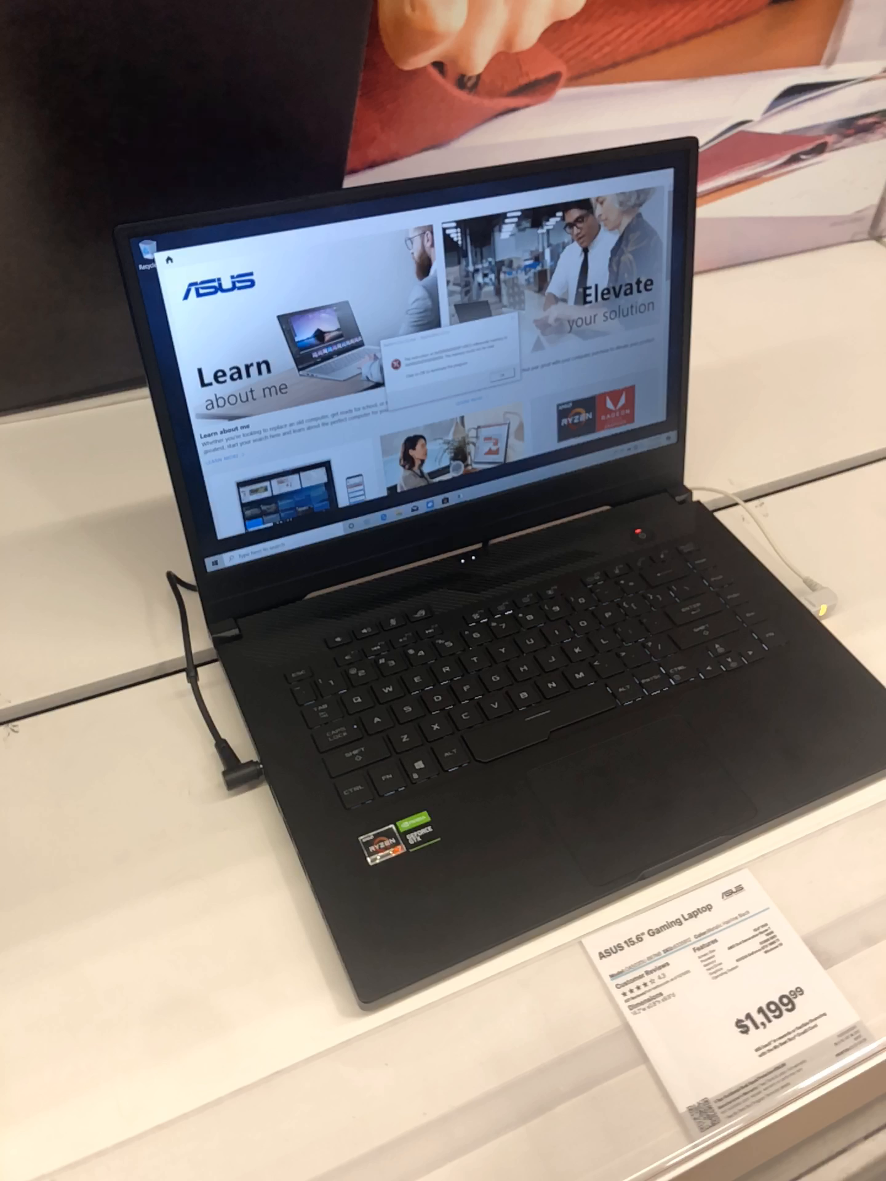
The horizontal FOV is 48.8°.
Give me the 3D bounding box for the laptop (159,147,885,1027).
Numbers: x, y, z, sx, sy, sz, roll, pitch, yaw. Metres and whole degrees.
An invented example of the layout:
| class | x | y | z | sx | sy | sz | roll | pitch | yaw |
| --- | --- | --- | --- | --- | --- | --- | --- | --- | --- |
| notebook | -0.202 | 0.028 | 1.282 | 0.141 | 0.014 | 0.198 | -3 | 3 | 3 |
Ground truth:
| class | x | y | z | sx | sy | sz | roll | pitch | yaw |
| --- | --- | --- | --- | --- | --- | --- | --- | --- | --- |
| laptop | 0.084 | -0.037 | 0.502 | 0.351 | 0.222 | 0.310 | -17 | 48 | -19 |
